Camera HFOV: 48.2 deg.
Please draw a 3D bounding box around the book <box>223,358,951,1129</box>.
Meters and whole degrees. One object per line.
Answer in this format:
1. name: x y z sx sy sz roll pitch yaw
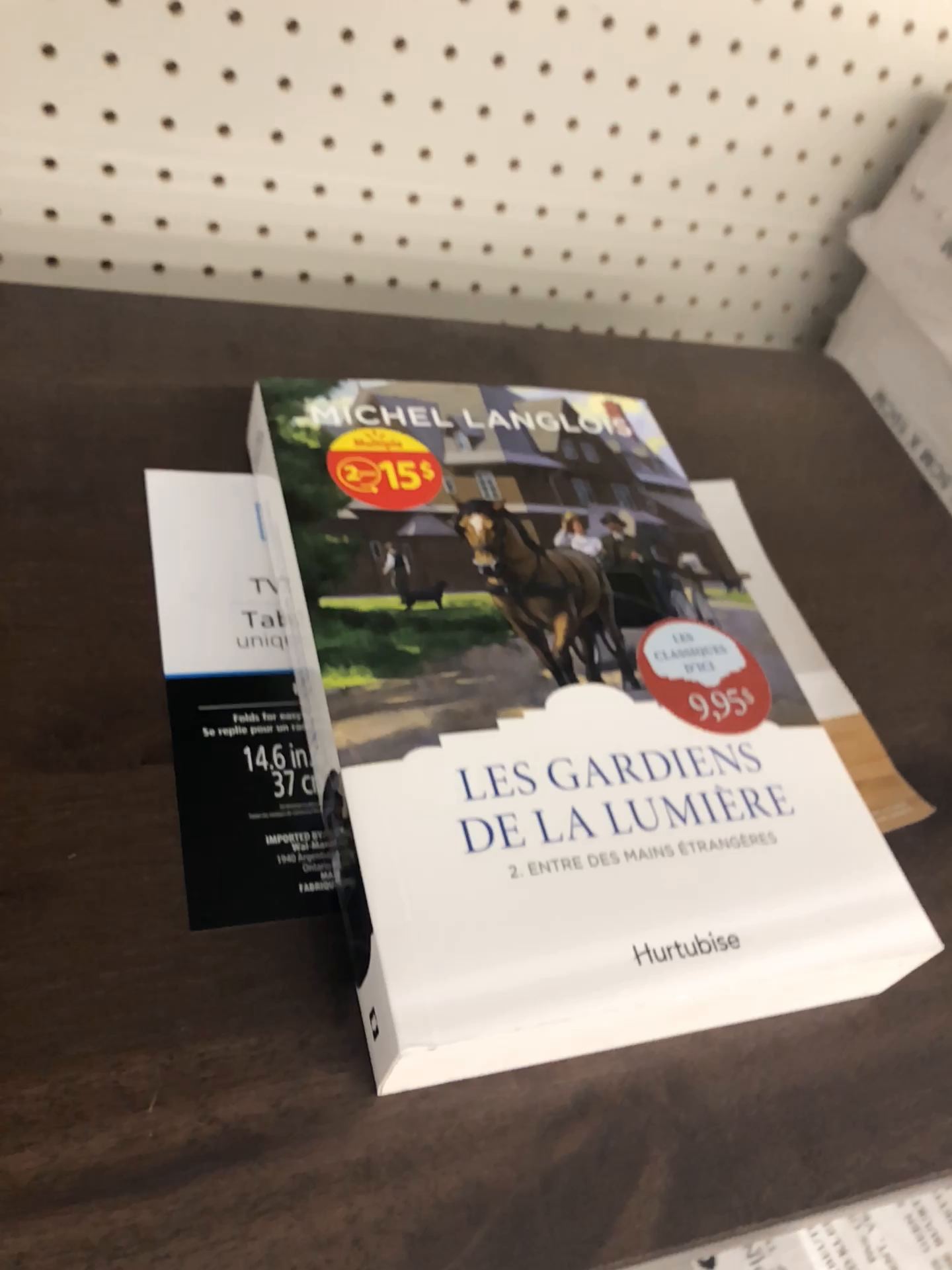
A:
1. book: 0.019 0.008 0.330 0.158 0.039 0.234 -2 51 -22
